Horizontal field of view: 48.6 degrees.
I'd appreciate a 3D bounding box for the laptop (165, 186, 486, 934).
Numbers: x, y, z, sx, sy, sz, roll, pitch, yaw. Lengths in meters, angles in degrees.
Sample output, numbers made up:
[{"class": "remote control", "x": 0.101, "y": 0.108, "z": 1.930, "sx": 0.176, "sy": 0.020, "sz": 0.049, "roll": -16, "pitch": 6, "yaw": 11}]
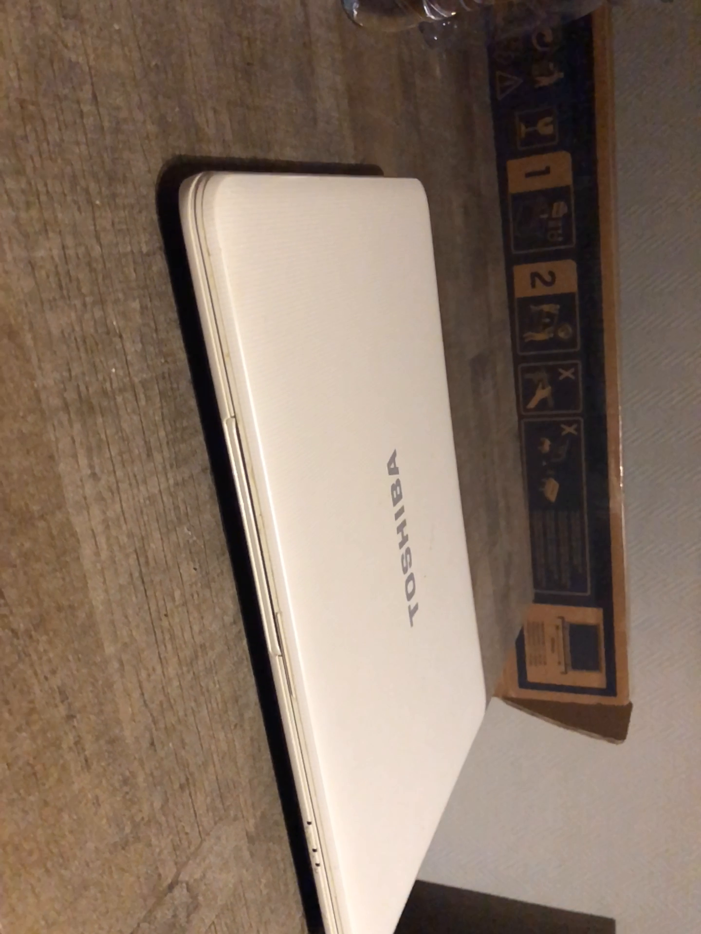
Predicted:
[{"class": "laptop", "x": 0.016, "y": 0.042, "z": 0.434, "sx": 0.228, "sy": 0.020, "sz": 0.376, "roll": -38, "pitch": 122, "yaw": -59}]
